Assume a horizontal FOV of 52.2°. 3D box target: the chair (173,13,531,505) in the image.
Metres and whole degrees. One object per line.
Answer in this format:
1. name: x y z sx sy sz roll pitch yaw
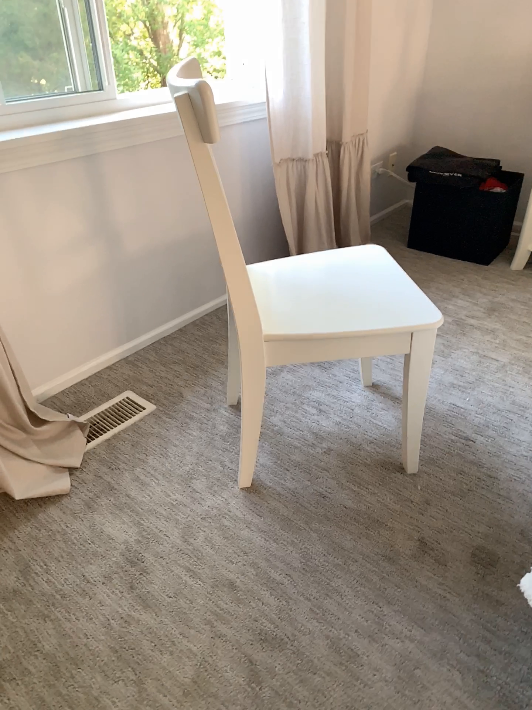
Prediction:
1. chair: 0.098 -0.222 1.185 0.480 0.854 0.574 -7 33 -6
